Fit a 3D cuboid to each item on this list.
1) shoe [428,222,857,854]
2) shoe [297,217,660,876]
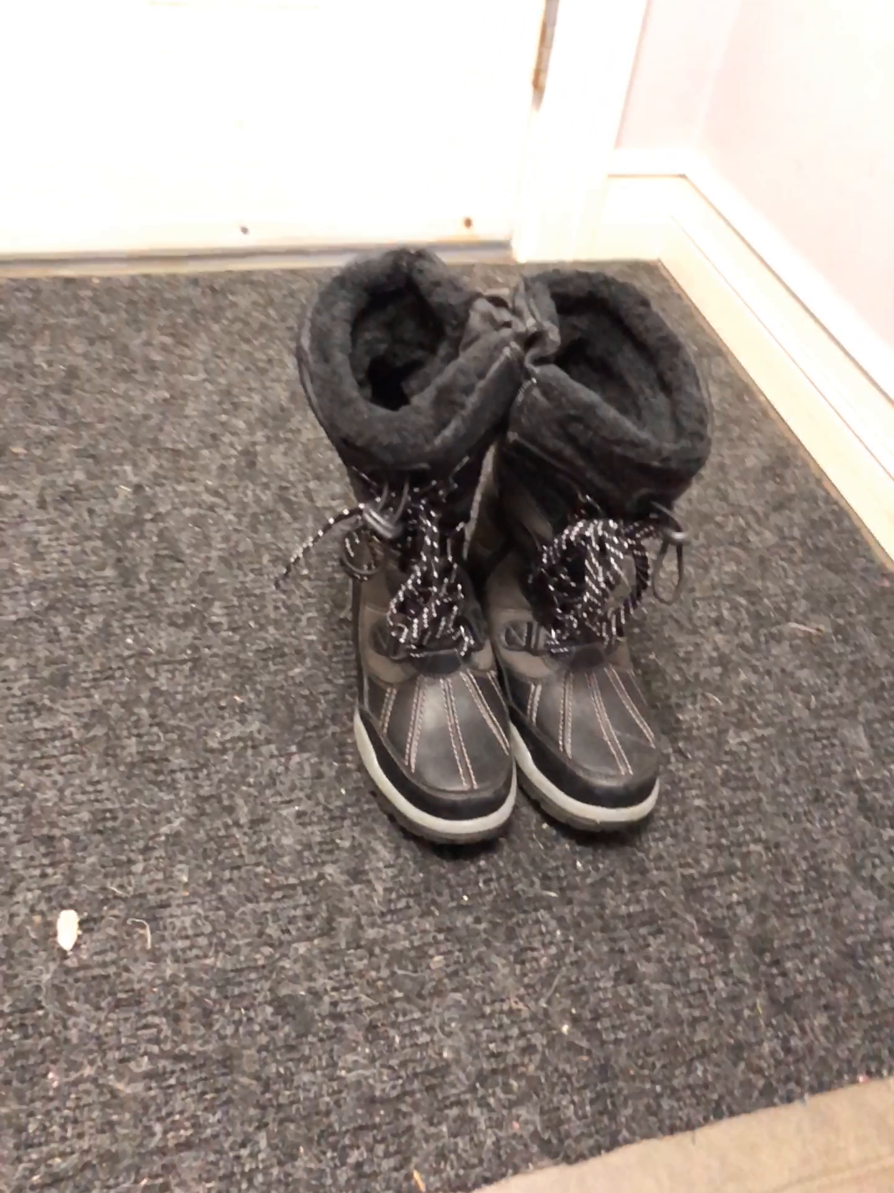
[{"bbox_3d":[0.083,-0.036,0.601,0.100,0.269,0.261,-8,48,-15],"label":"shoe"},{"bbox_3d":[-0.011,-0.030,0.576,0.110,0.269,0.261,-7,47,-14],"label":"shoe"}]
